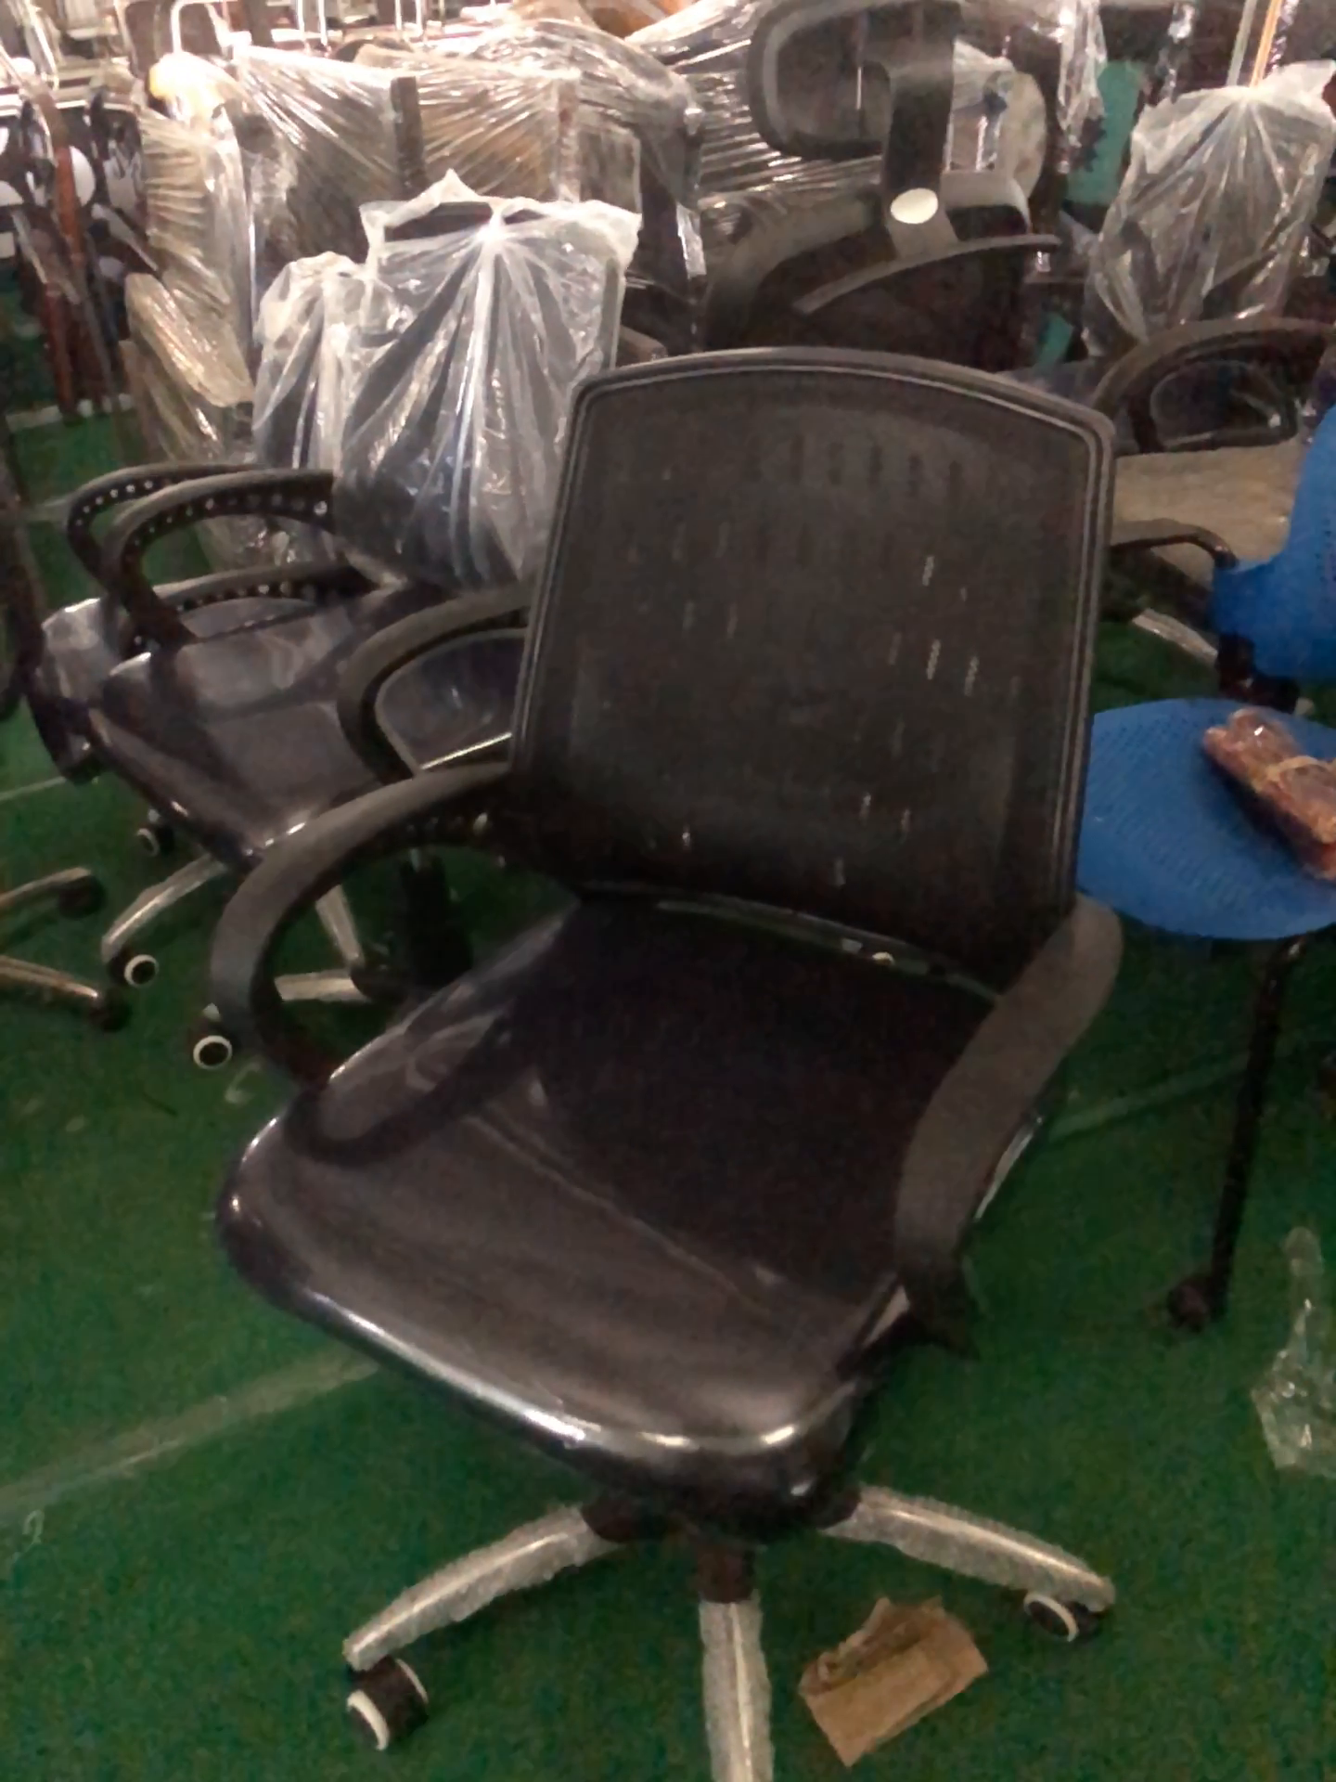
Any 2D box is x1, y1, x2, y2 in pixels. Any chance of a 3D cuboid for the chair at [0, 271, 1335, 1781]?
[{"bbox_3d":[0.089,0.157,1.119,0.730,0.995,0.874,15,38,28],"label":"chair"}]
